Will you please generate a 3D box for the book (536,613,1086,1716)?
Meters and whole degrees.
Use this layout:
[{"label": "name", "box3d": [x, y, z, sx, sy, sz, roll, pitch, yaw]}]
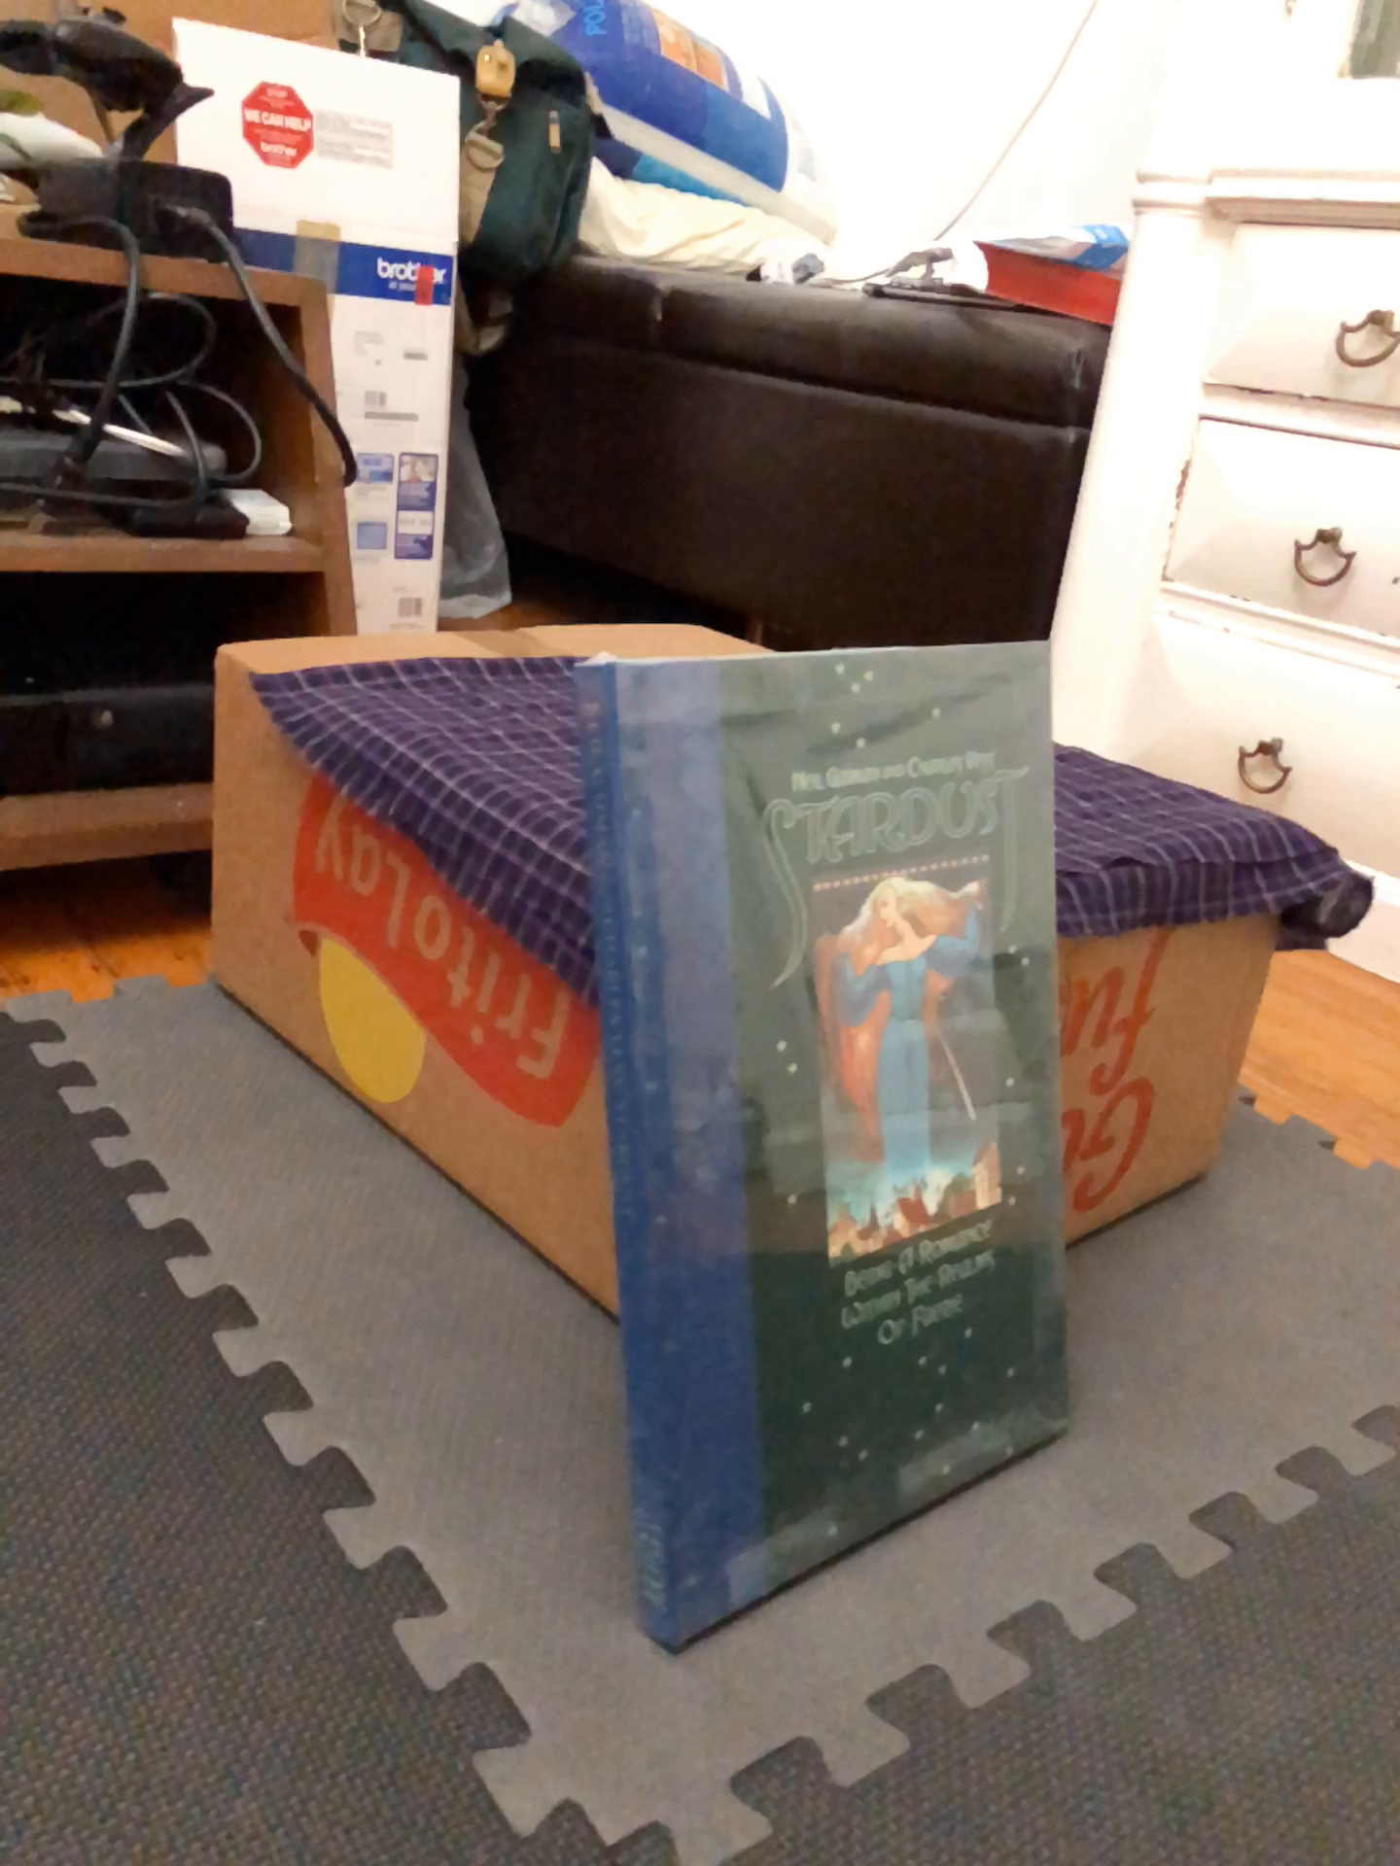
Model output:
[{"label": "book", "box3d": [0.053, 0.063, 0.524, 0.211, 0.329, 0.020, -11, 11, -38]}]
